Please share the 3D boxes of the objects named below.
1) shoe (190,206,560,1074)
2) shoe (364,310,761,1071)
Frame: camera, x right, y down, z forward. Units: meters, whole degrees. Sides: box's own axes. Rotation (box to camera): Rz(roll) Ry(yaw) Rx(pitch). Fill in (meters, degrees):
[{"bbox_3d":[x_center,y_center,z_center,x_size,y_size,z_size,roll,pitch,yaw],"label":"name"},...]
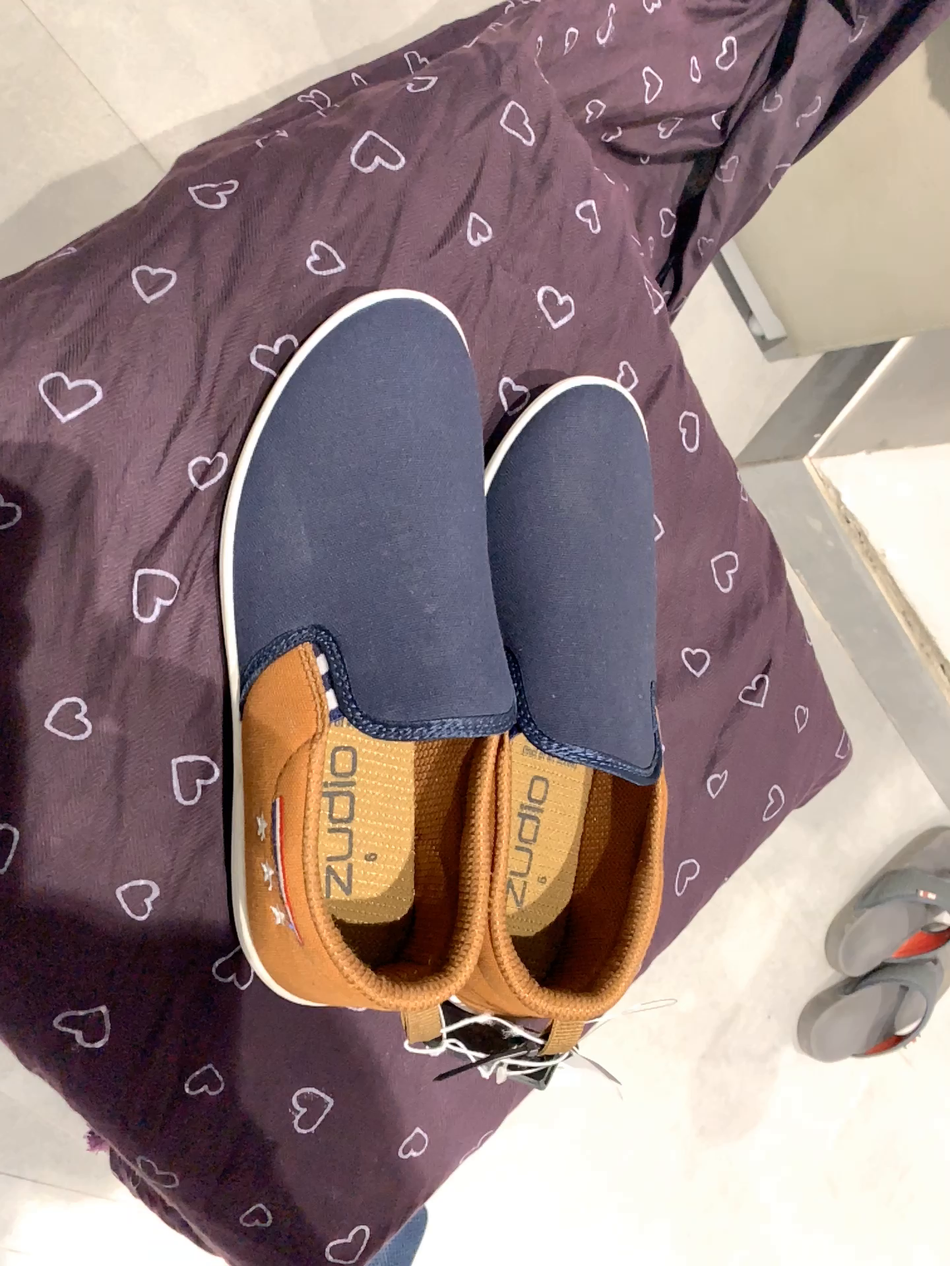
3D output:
[{"bbox_3d":[-0.038,0.005,0.353,0.100,0.060,0.270,3,93,-30],"label":"shoe"},{"bbox_3d":[0.036,0.025,0.392,0.100,0.060,0.270,10,89,-30],"label":"shoe"}]
